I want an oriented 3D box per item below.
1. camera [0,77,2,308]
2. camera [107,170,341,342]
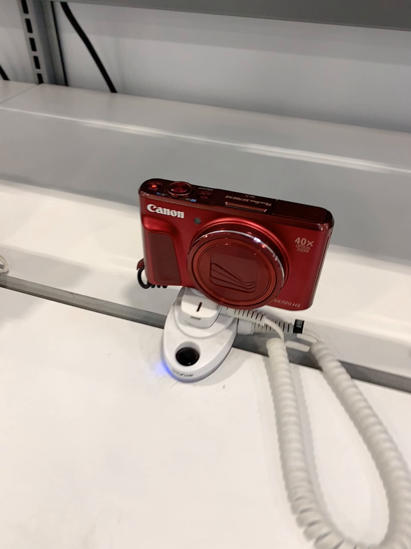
[{"bbox_3d":[-0.225,-0.058,0.269,0.120,0.089,0.101,12,41,12],"label":"camera"},{"bbox_3d":[0.010,-0.012,0.252,0.120,0.070,0.040,12,41,12],"label":"camera"}]
